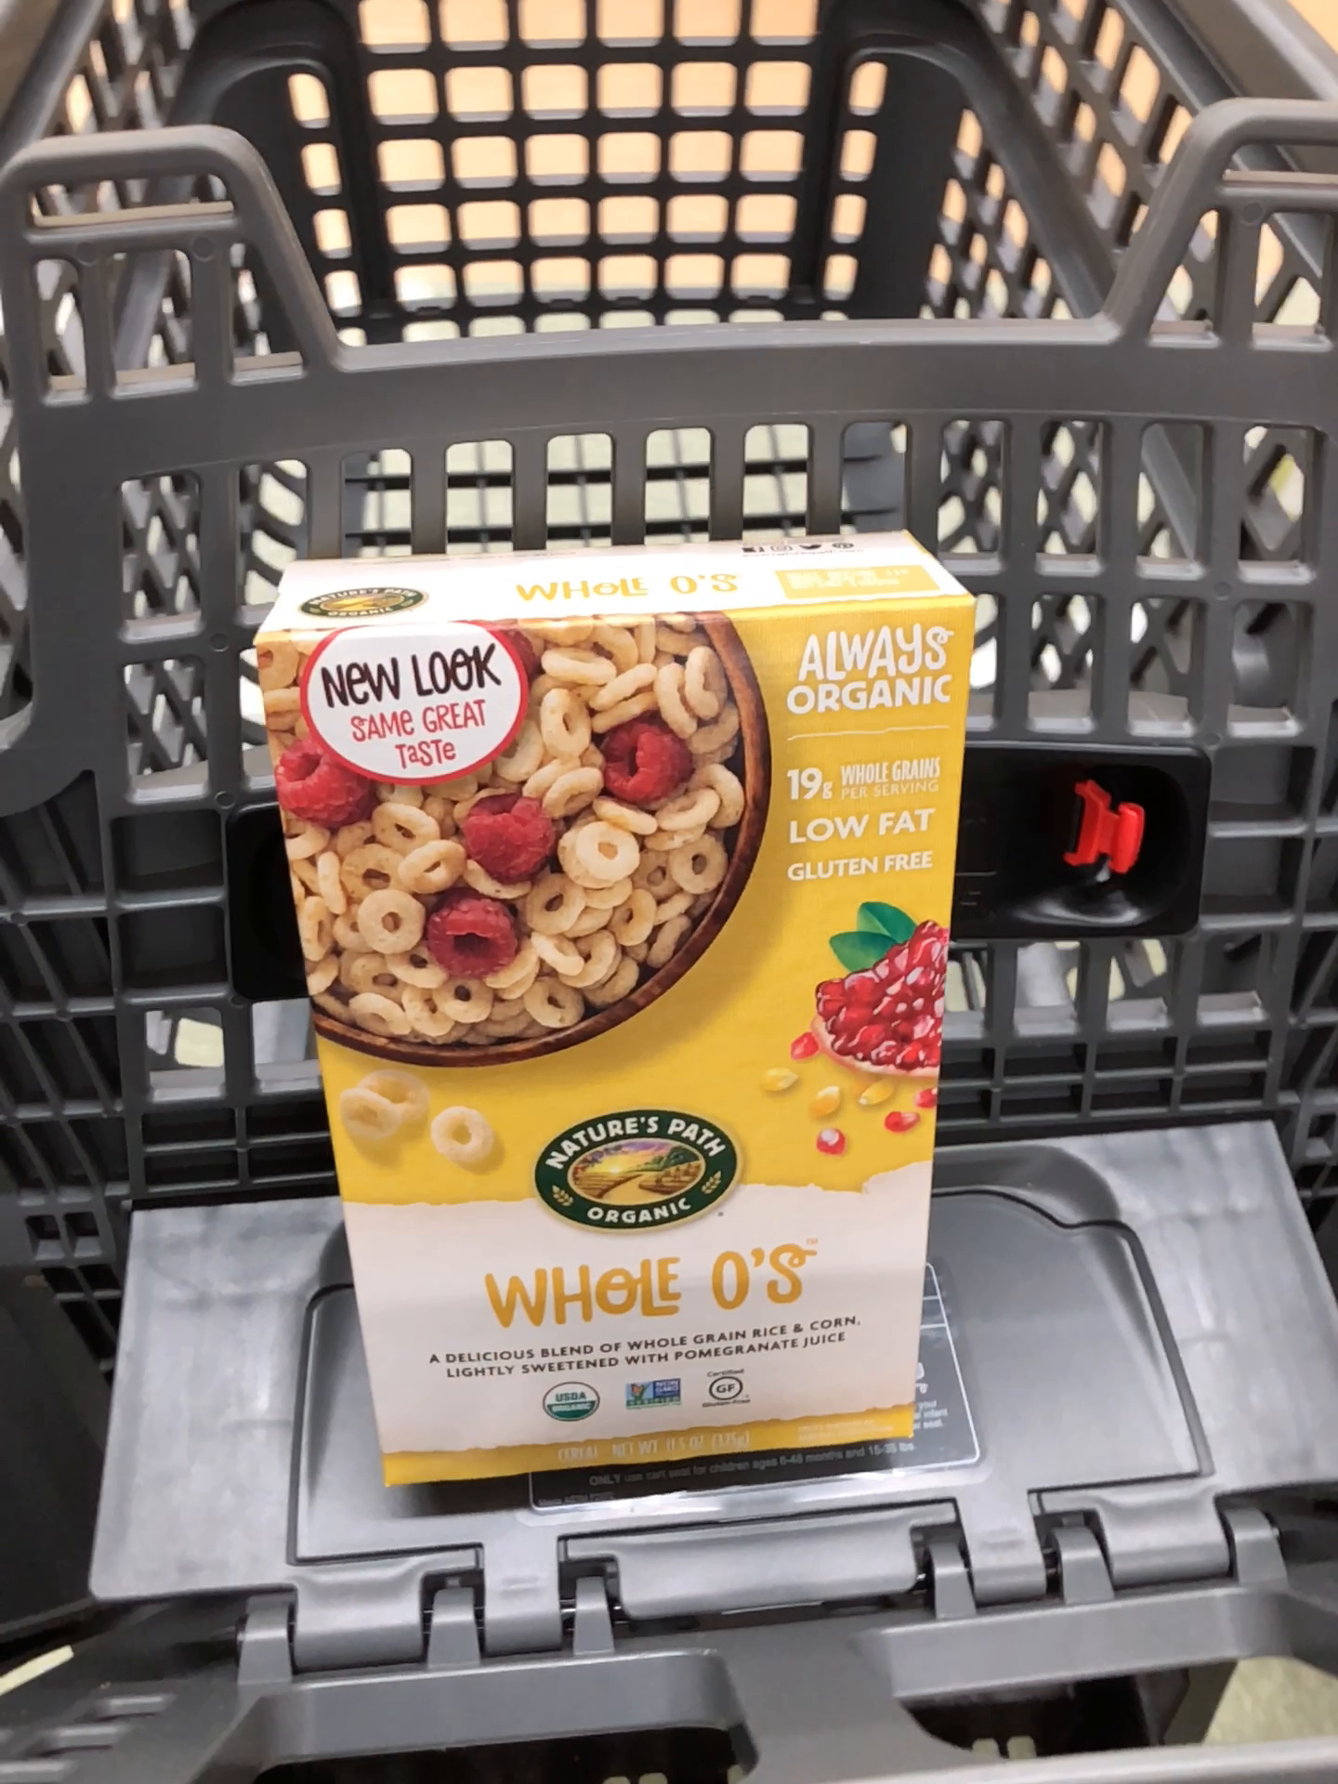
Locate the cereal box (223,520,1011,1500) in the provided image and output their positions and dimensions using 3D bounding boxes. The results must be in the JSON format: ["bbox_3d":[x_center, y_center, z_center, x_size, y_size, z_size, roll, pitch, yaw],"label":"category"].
[{"bbox_3d":[-0.009,0.039,0.386,0.160,0.250,0.060,-4,28,-4],"label":"cereal box"}]
